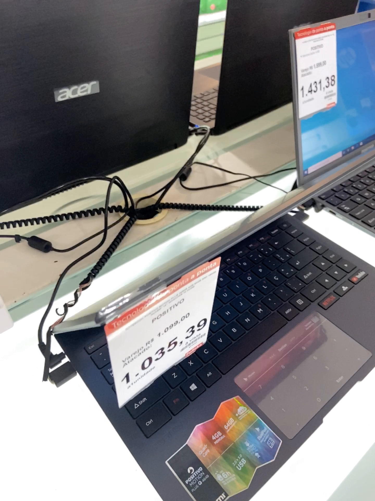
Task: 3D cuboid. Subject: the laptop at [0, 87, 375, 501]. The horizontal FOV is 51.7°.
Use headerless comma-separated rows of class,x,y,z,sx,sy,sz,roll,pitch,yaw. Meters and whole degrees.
laptop,0.065,0.009,0.349,0.334,0.163,0.222,-29,51,-28
